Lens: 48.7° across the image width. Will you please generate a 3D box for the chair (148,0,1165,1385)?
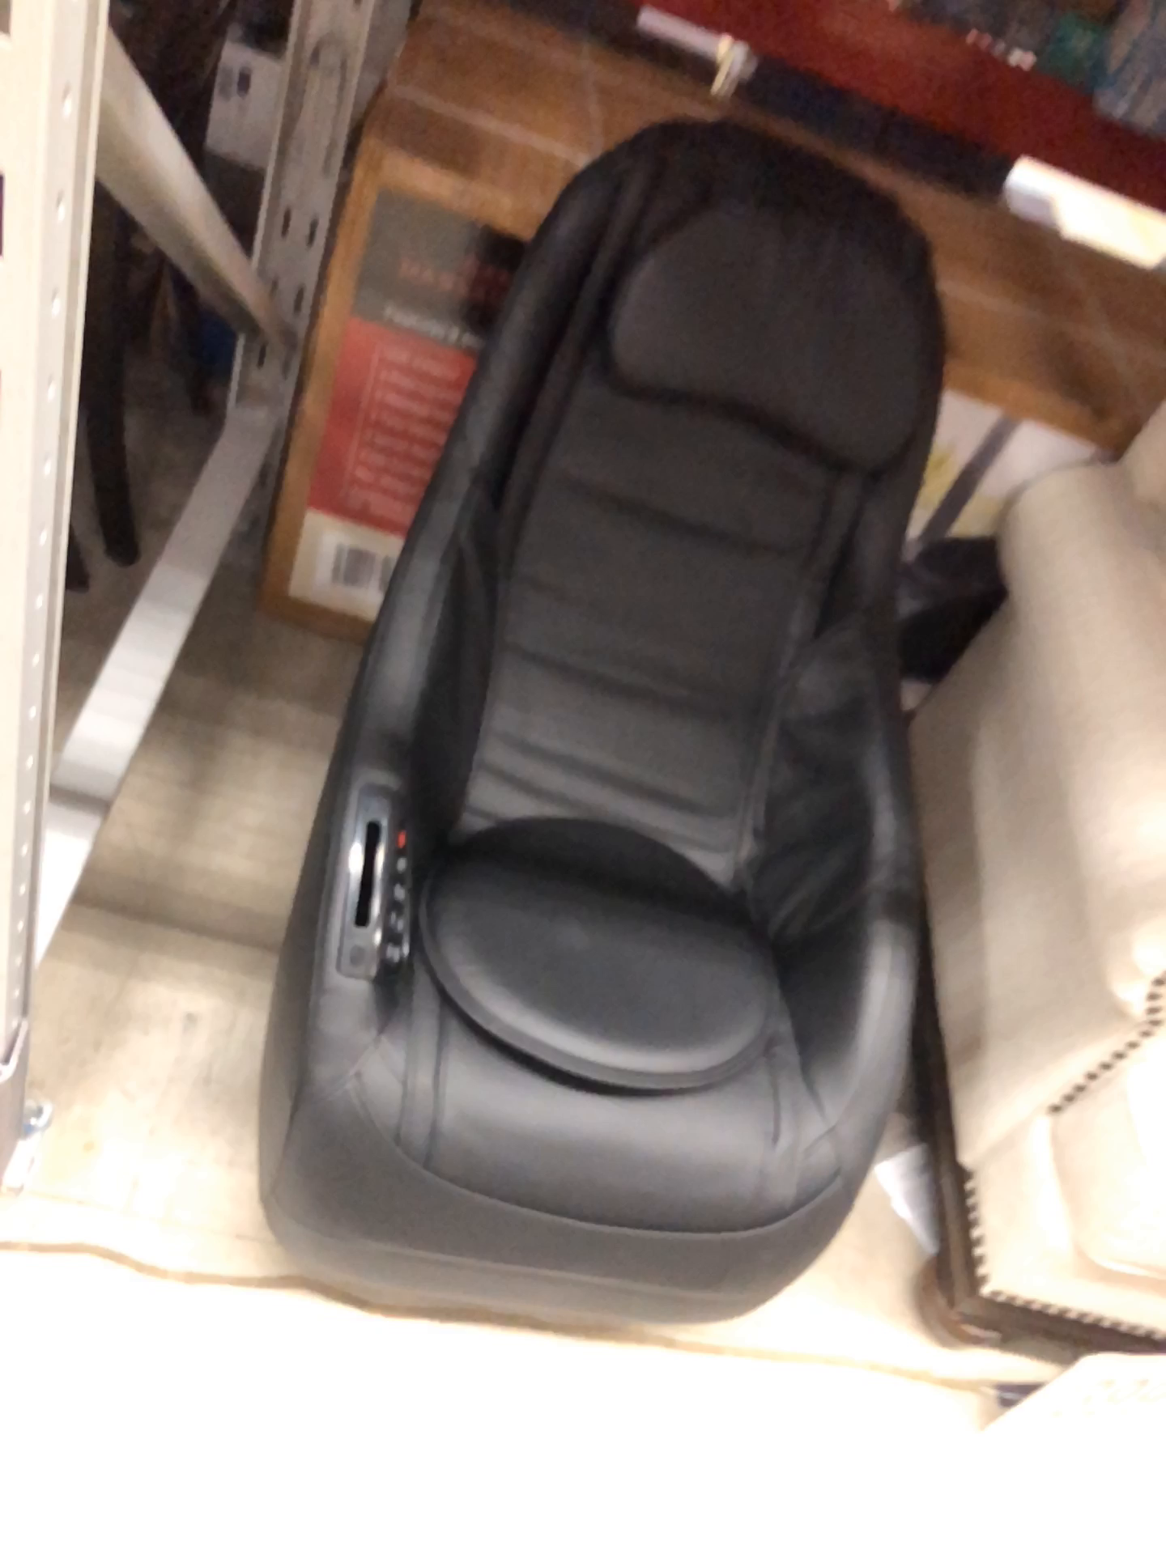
[{"bbox_3d":[0.077,-0.013,1.120,0.651,0.848,0.701,13,45,-14],"label":"chair"}]
